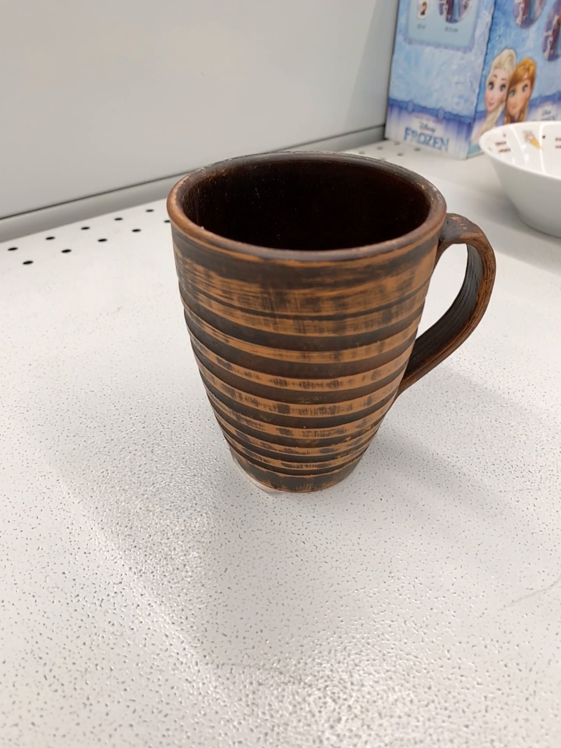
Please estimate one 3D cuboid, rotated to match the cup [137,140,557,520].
[{"bbox_3d":[0.012,-0.021,0.204,0.106,0.089,0.084,-8,38,-12],"label":"cup"}]
